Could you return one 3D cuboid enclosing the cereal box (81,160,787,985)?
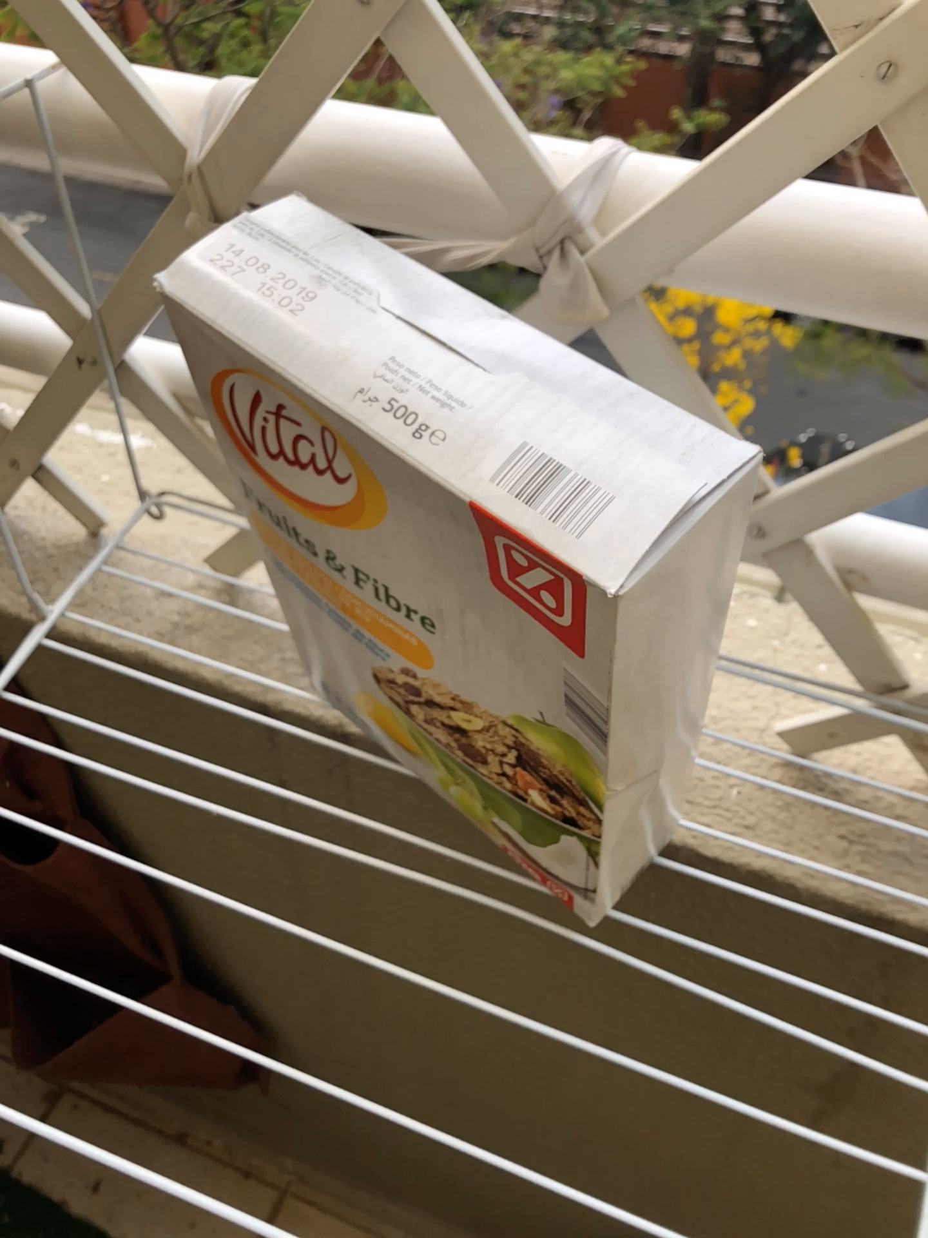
[{"bbox_3d":[-0.009,0.001,0.396,0.211,0.268,0.070,38,66,27],"label":"cereal box"}]
